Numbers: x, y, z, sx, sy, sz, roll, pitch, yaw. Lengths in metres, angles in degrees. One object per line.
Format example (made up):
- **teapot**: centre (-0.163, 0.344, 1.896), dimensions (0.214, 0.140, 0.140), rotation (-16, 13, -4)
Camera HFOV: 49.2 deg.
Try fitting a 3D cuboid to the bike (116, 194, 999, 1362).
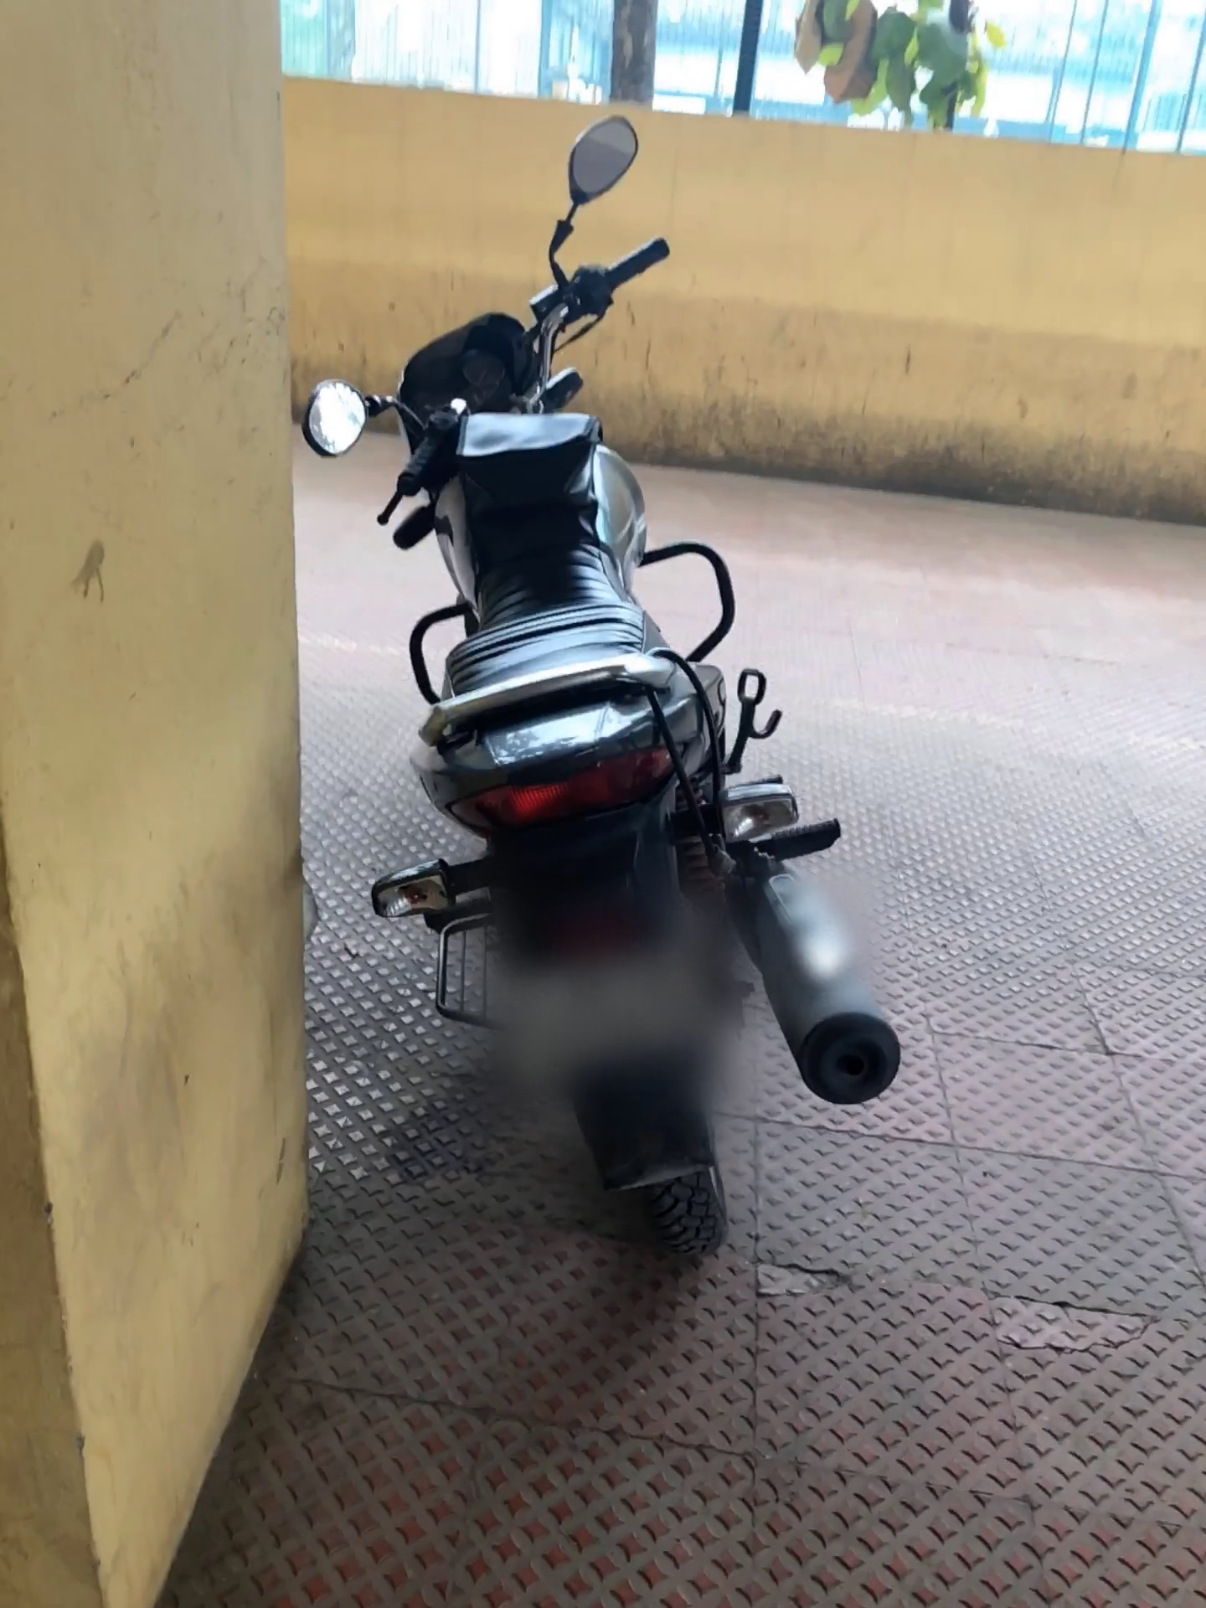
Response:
- **bike**: centre (-0.200, -0.196, 1.971), dimensions (0.720, 1.166, 1.476), rotation (0, 27, -10)
